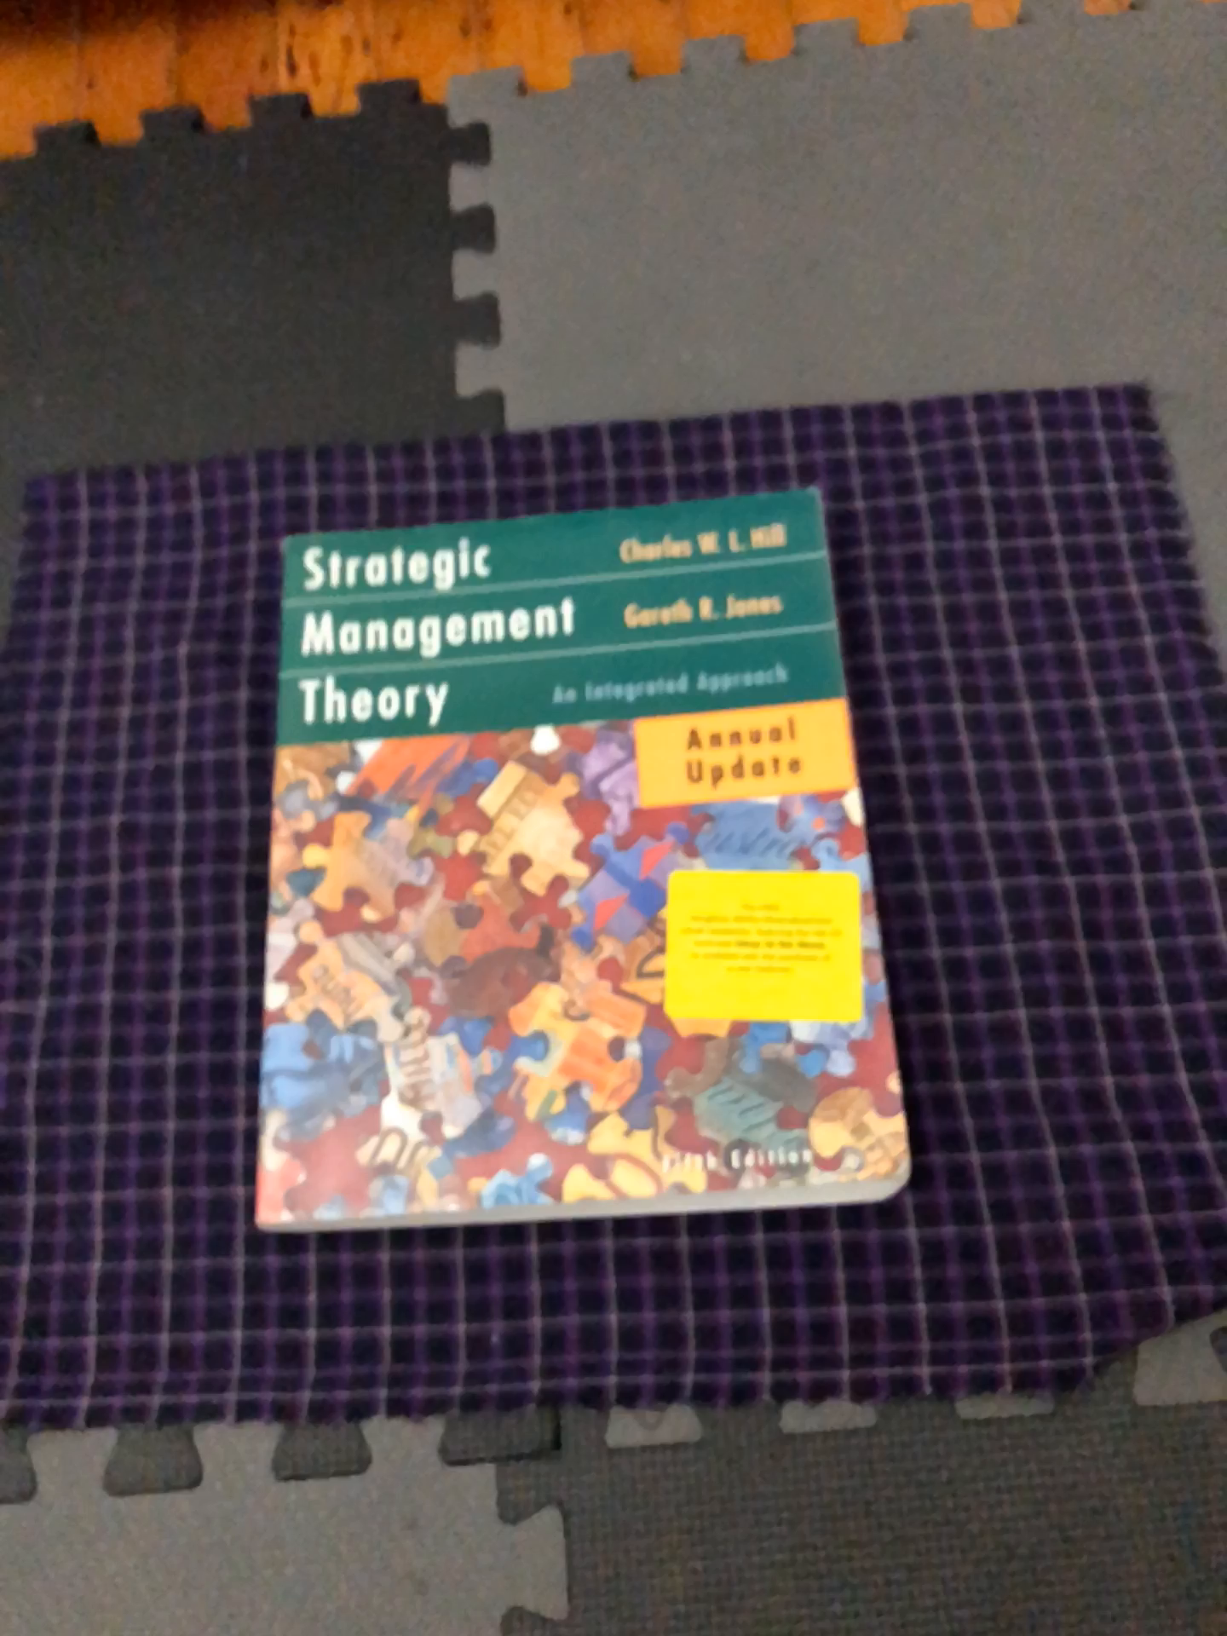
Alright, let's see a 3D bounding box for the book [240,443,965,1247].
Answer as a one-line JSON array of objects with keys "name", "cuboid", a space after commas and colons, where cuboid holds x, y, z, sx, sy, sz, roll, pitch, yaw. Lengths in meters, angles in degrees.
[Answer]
[{"name": "book", "cuboid": [-0.010, 0.003, 0.501, 0.230, 0.040, 0.281, -4, 69, 5]}]
